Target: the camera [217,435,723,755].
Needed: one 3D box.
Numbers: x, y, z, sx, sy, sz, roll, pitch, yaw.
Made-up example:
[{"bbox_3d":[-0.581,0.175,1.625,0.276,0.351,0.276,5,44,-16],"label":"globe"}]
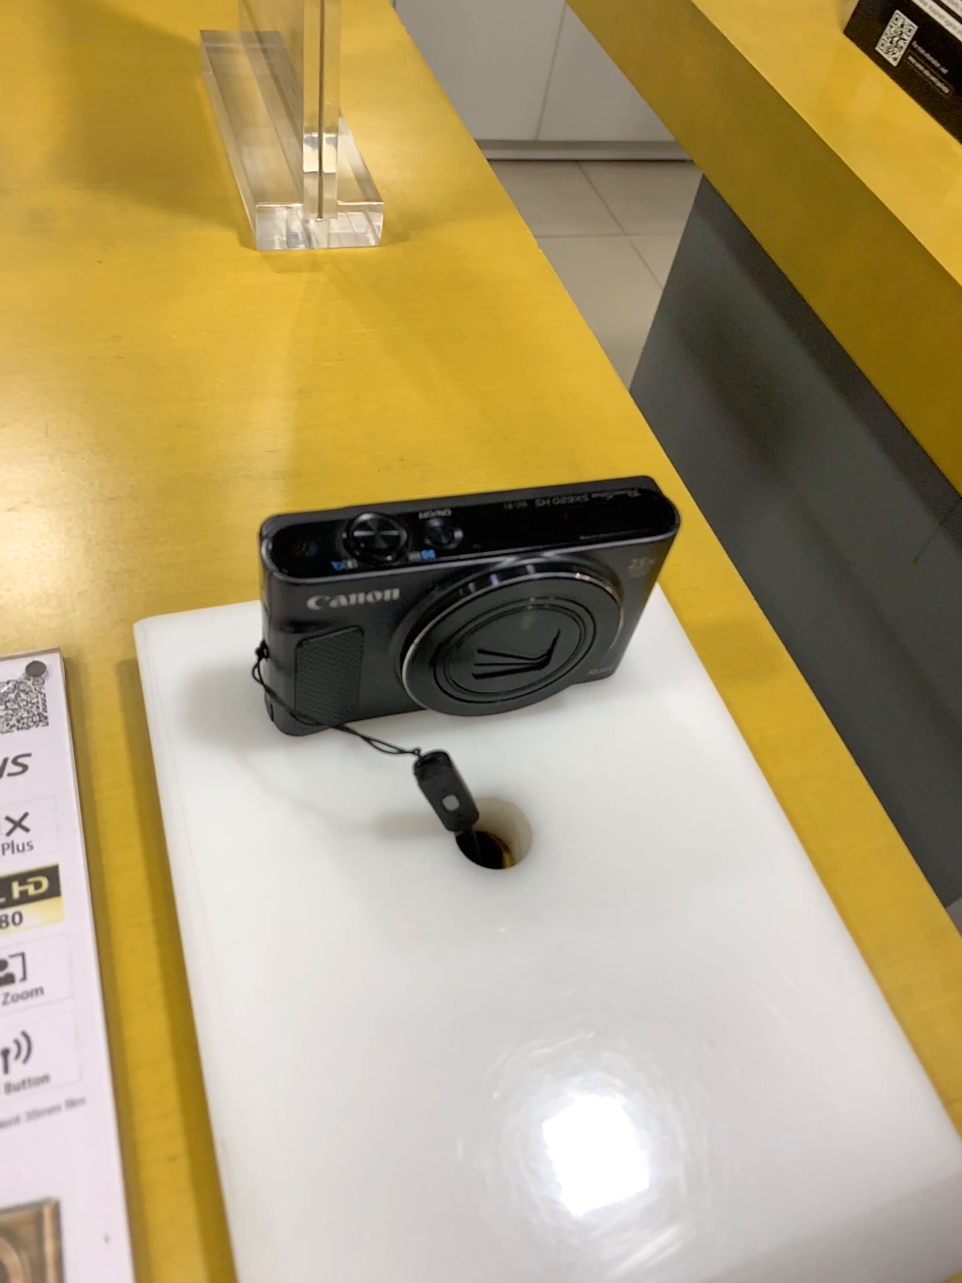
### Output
[{"bbox_3d":[-0.005,-0.011,0.225,0.100,0.060,0.030,-8,55,-17],"label":"camera"}]
